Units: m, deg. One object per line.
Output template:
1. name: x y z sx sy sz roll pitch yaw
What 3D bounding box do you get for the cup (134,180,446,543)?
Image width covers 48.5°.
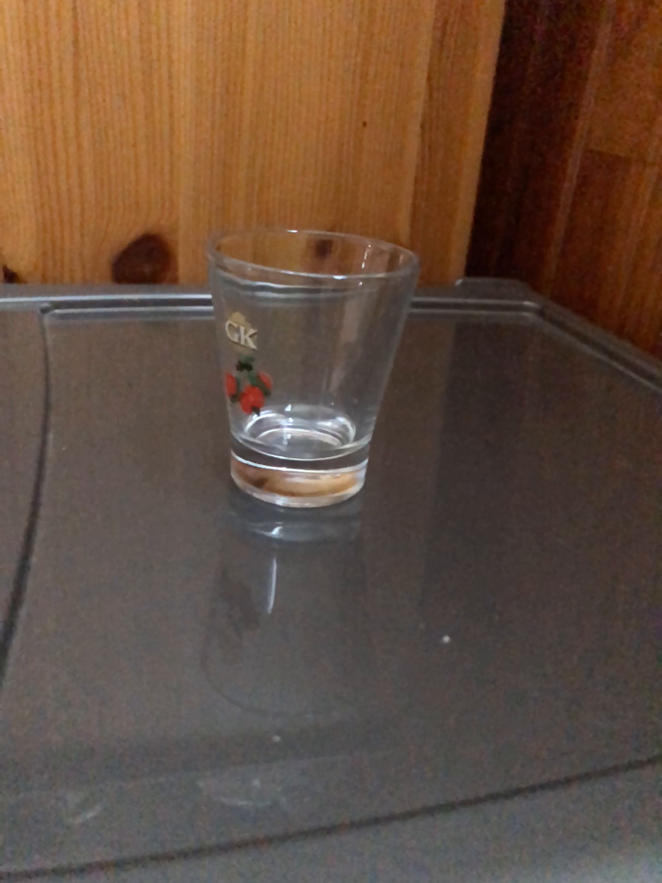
1. cup: -0.012 -0.028 0.213 0.060 0.080 0.060 5 26 -2
